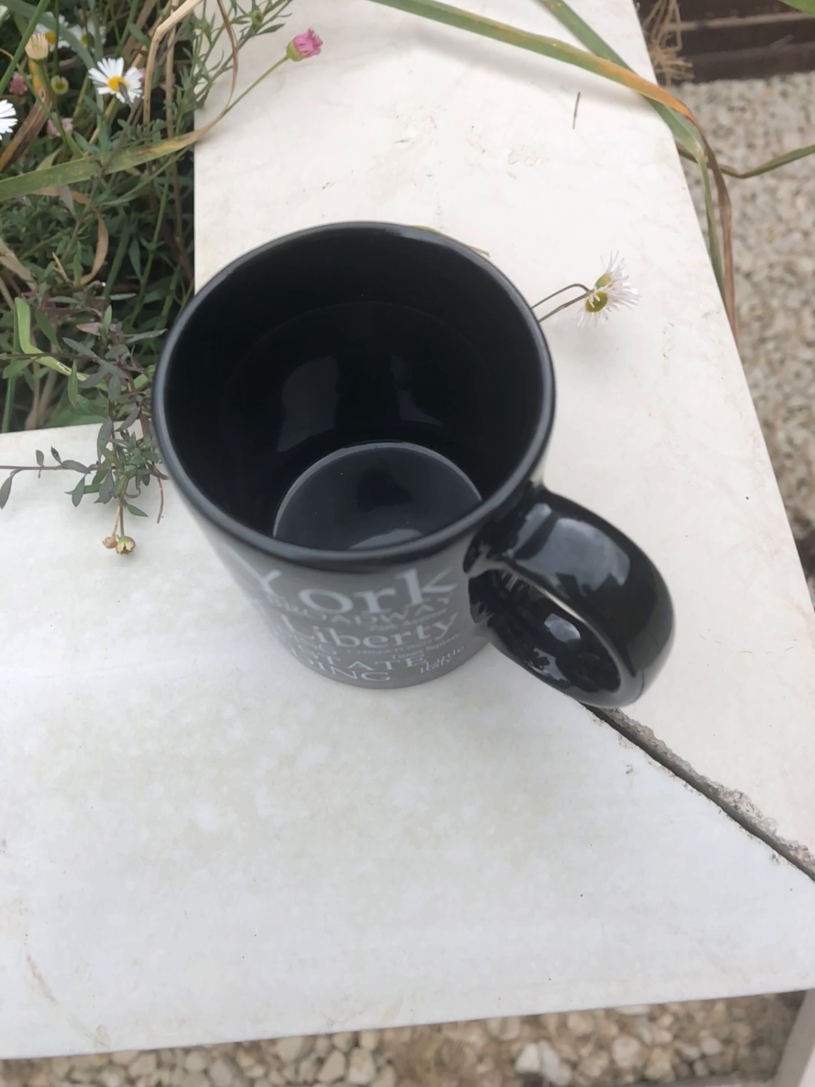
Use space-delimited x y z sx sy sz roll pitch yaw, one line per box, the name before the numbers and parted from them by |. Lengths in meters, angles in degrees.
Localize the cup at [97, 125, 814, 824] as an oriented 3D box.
cup | 0.012 -0.008 0.157 0.090 0.070 0.060 30 69 15
